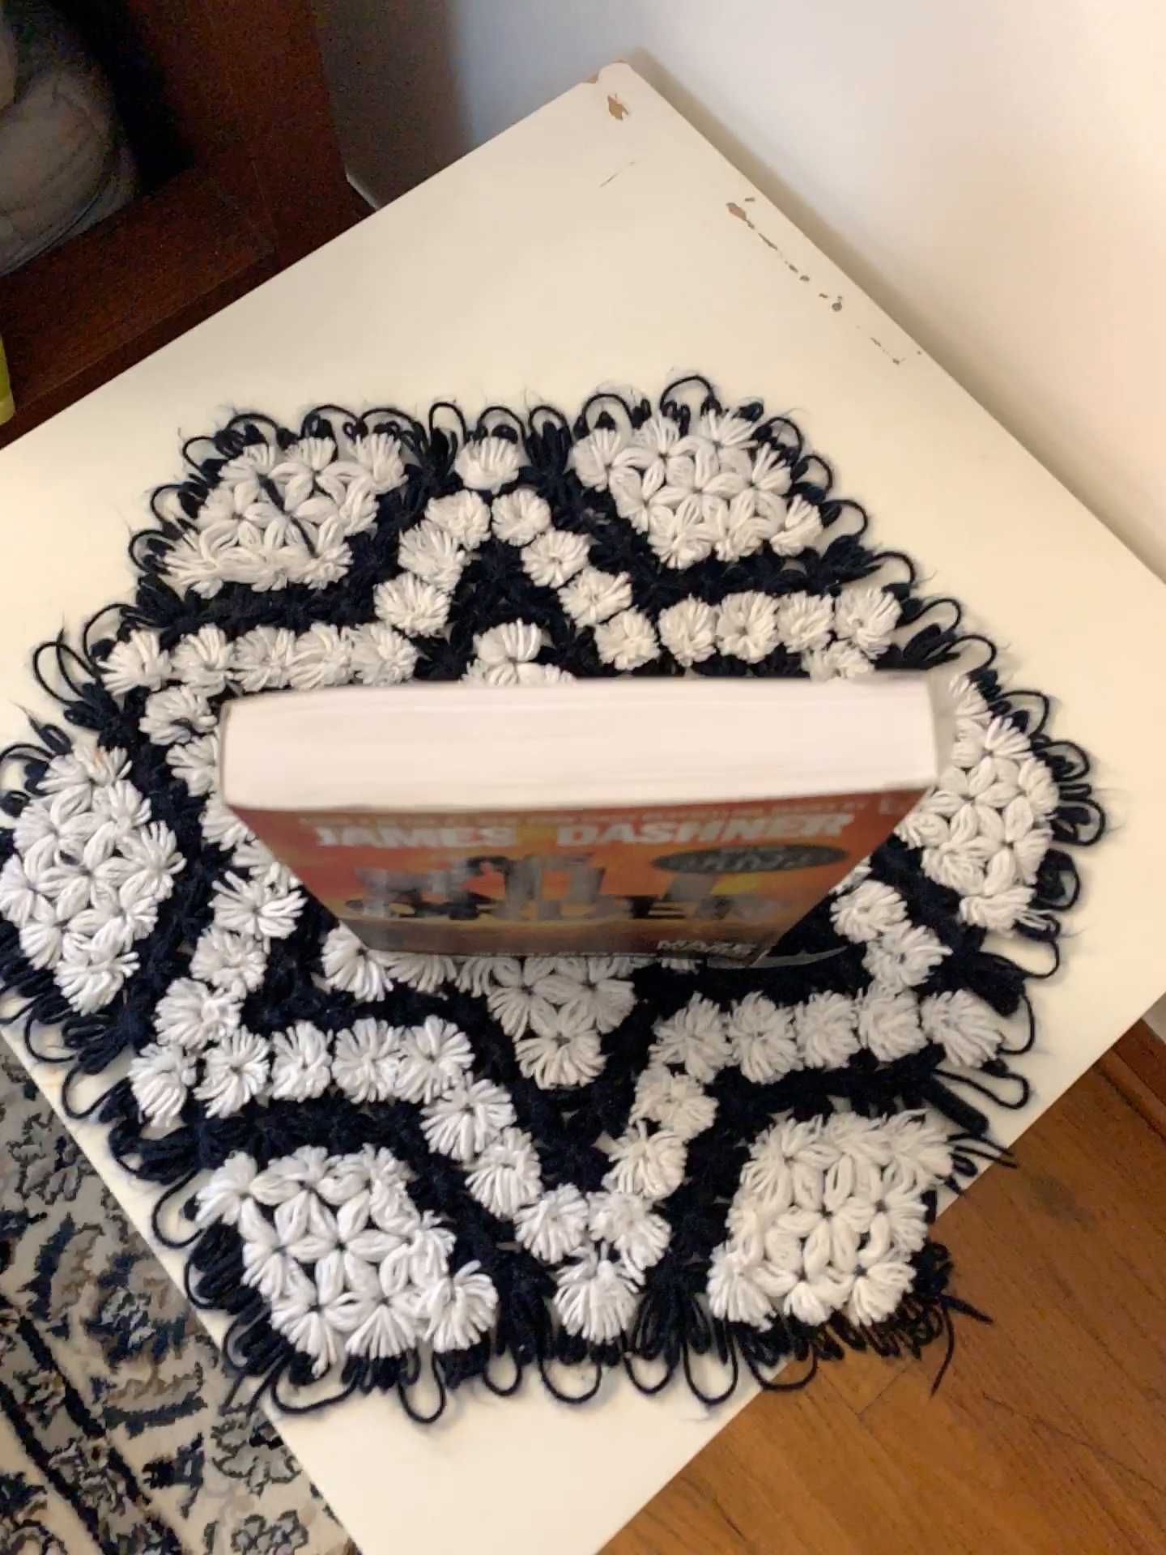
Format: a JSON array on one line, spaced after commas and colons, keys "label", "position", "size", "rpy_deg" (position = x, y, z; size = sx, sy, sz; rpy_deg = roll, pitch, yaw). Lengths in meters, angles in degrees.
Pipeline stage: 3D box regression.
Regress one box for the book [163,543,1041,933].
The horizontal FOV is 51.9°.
[{"label": "book", "position": [0.000, 0.006, 0.327], "size": [0.160, 0.219, 0.030], "rpy_deg": [1, 72, -2]}]
